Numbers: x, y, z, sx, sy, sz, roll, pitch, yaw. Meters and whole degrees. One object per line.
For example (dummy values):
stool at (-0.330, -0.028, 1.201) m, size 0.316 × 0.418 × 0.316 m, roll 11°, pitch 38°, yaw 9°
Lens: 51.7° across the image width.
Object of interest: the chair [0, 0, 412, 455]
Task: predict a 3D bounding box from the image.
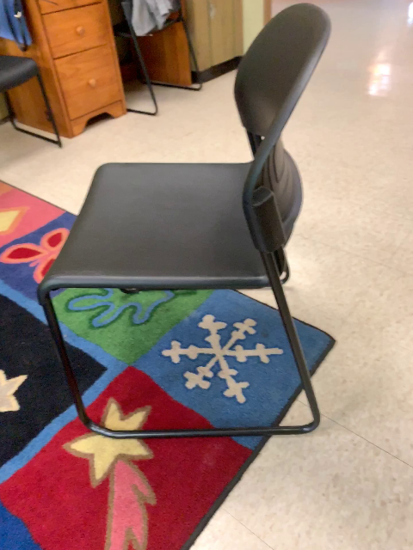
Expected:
chair at (-0.064, -0.117, 0.895) m, size 0.630 × 0.736 × 0.613 m, roll 0°, pitch 39°, yaw 6°
